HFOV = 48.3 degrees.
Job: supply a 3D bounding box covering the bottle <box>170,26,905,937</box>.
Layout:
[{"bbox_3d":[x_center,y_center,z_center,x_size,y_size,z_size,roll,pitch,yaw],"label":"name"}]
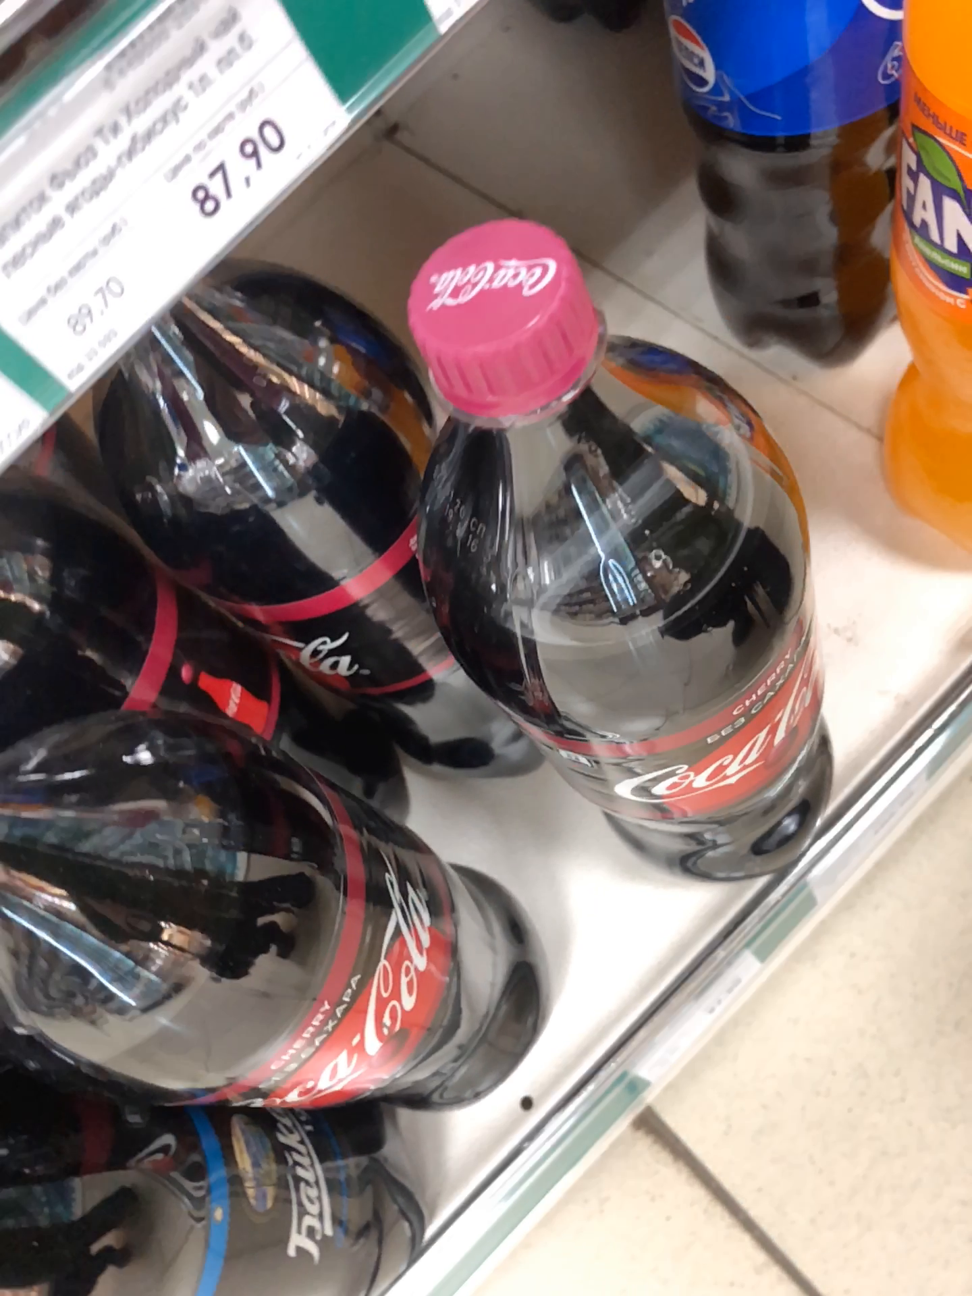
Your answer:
[{"bbox_3d":[0.047,-0.004,0.310,0.088,0.295,0.092,-7,66,16],"label":"bottle"}]
